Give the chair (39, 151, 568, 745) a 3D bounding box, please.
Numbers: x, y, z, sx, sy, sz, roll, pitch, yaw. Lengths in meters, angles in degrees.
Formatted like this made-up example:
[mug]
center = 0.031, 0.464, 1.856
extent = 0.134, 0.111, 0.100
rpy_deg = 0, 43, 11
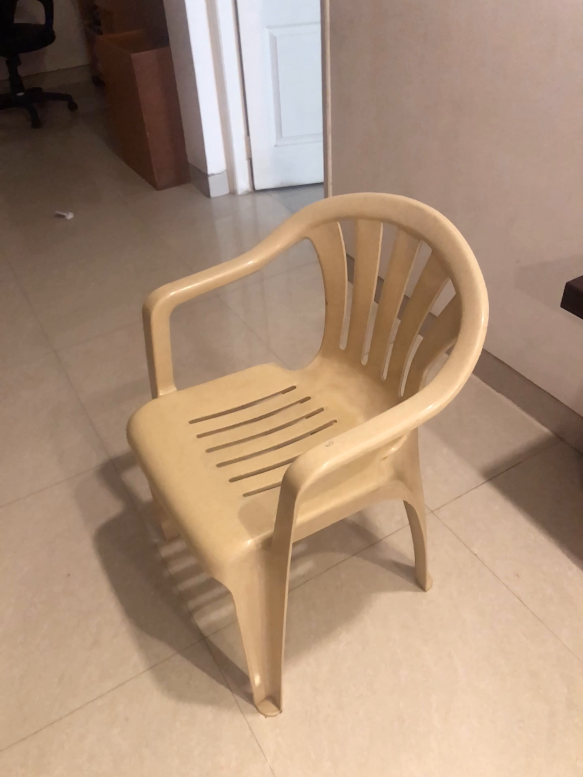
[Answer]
[chair]
center = 0.006, 0.085, 1.217
extent = 0.591, 0.774, 0.573
rpy_deg = -24, 43, -22
